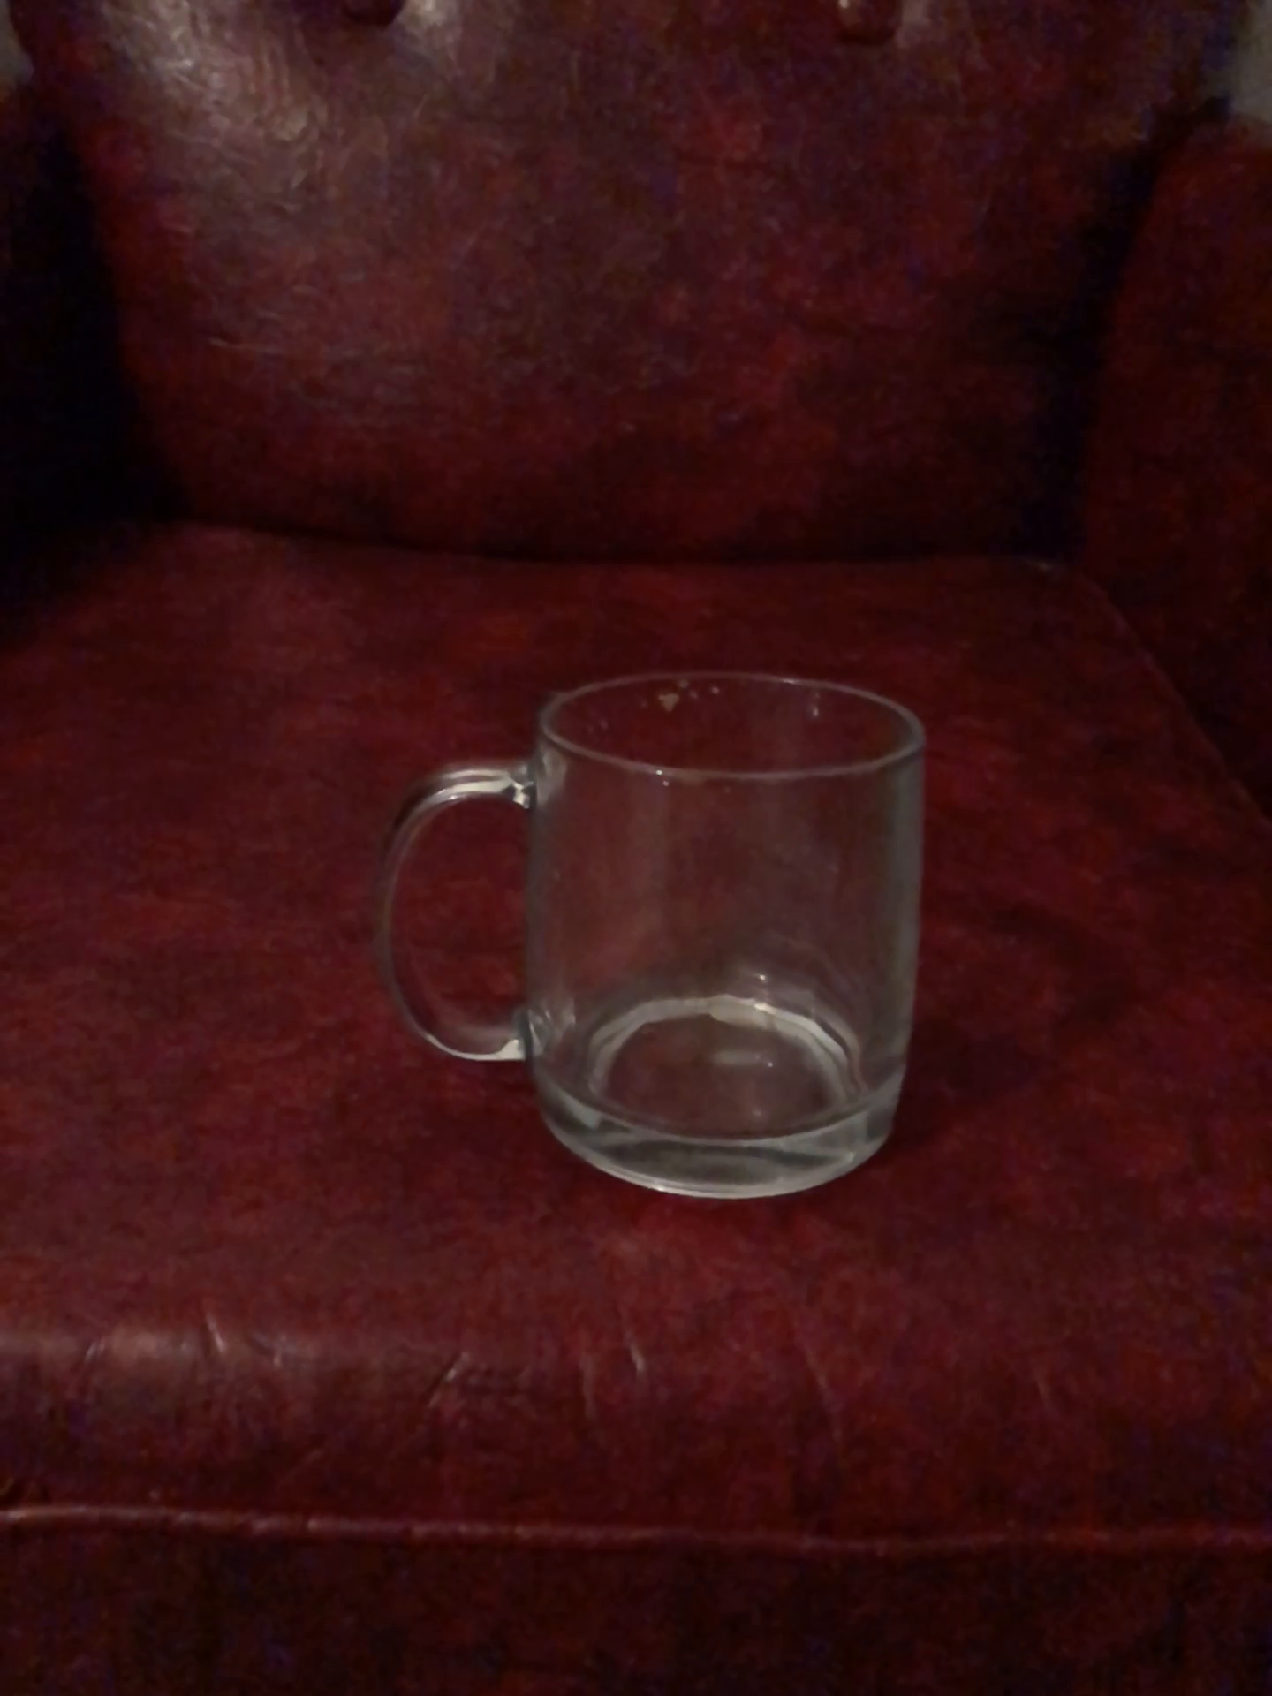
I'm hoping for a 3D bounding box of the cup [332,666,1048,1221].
[{"bbox_3d":[0.007,0.015,0.308,0.128,0.089,0.091,0,20,-3],"label":"cup"}]
